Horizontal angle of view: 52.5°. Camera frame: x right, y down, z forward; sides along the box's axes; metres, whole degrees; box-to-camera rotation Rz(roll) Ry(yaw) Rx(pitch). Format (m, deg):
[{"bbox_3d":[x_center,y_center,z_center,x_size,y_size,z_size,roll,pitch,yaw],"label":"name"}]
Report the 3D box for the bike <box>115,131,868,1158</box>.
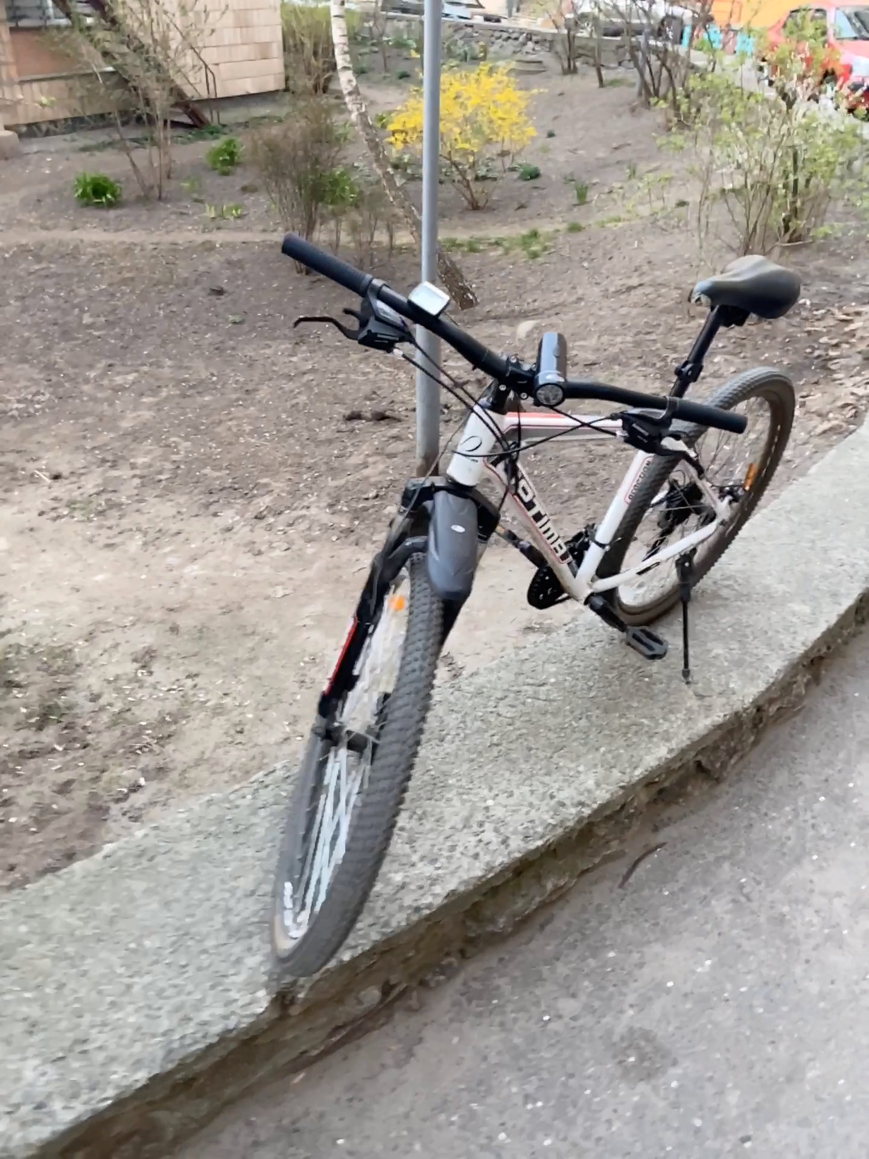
[{"bbox_3d":[0.419,-0.024,1.669,0.679,1.143,1.760,25,43,30],"label":"bike"}]
